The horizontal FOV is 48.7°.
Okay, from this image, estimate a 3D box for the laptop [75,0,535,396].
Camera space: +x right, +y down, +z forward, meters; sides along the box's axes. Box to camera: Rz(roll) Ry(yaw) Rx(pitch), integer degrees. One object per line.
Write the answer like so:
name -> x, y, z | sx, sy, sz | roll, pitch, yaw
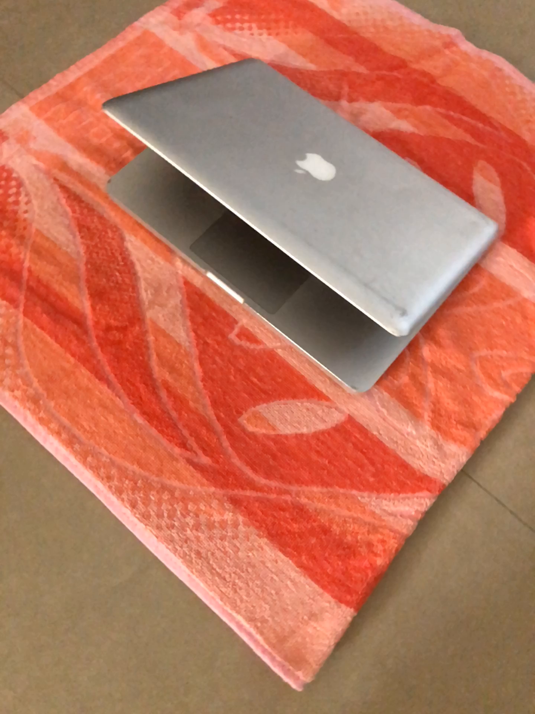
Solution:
laptop -> 0.032, -0.155, 0.527 | 0.310, 0.087, 0.223 | 39, 71, 11
